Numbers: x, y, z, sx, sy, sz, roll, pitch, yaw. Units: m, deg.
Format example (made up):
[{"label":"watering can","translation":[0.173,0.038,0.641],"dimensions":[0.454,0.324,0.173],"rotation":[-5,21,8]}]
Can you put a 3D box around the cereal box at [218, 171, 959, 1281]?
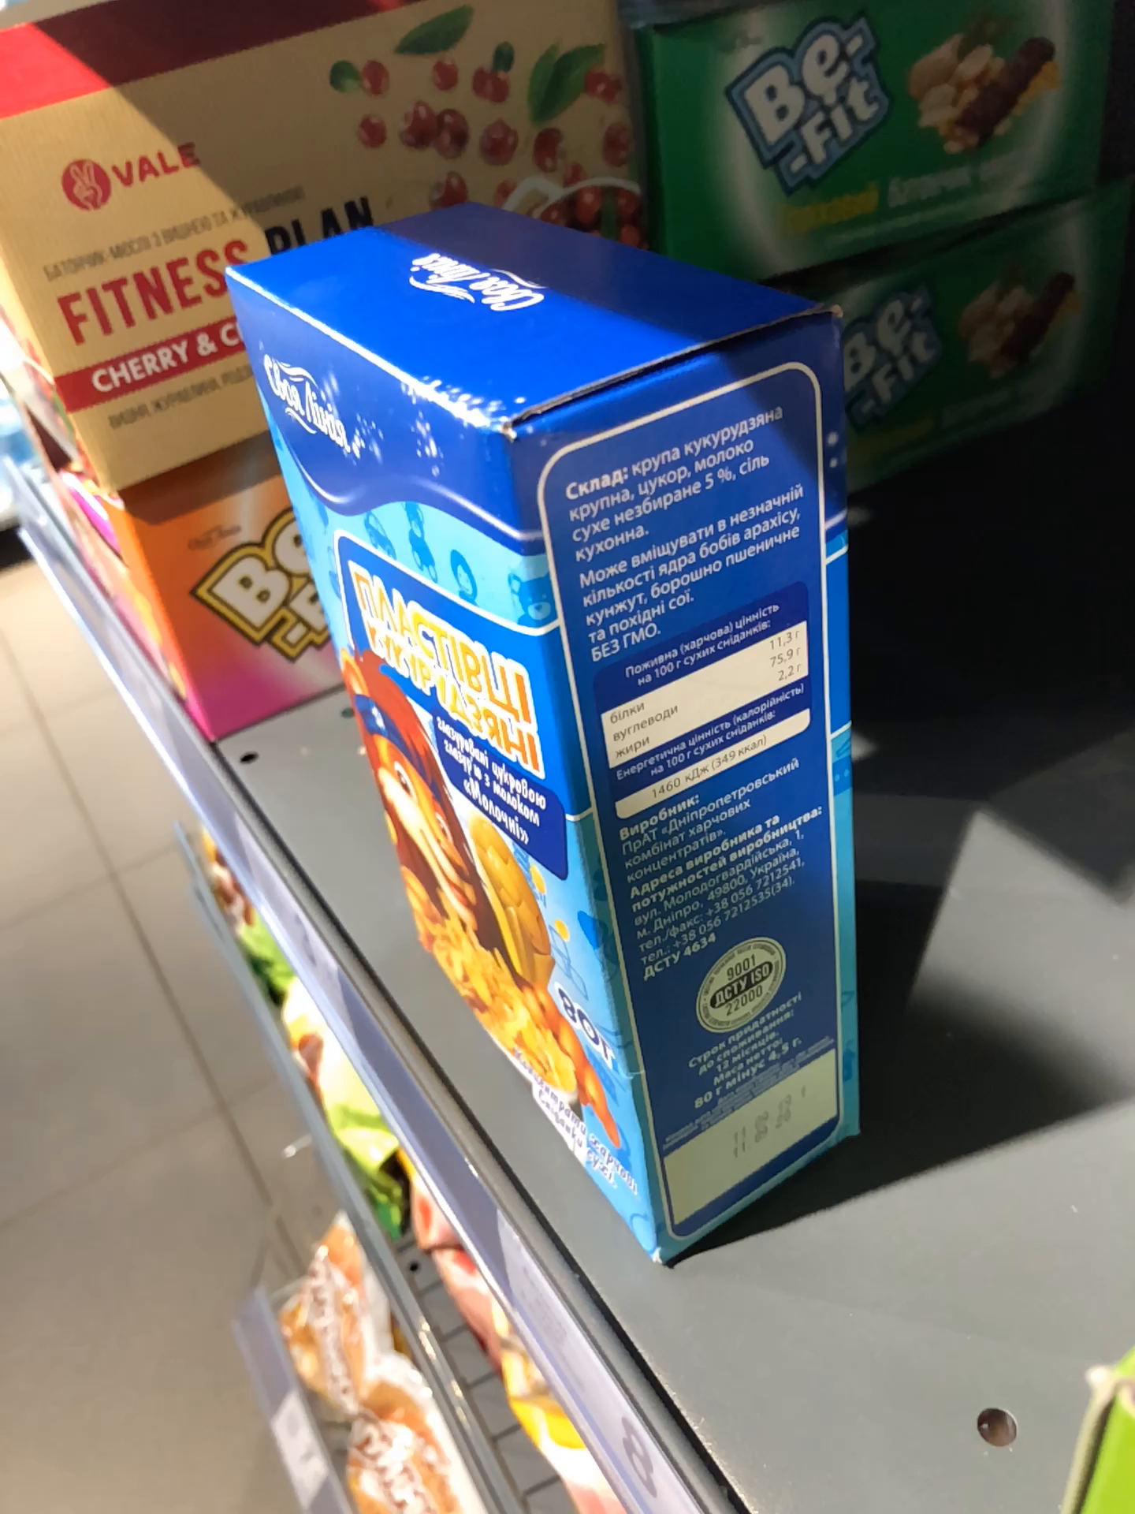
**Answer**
[{"label":"cereal box","translation":[0.005,-0.008,0.245],"dimensions":[0.060,0.169,0.121],"rotation":[-25,39,-20]}]
